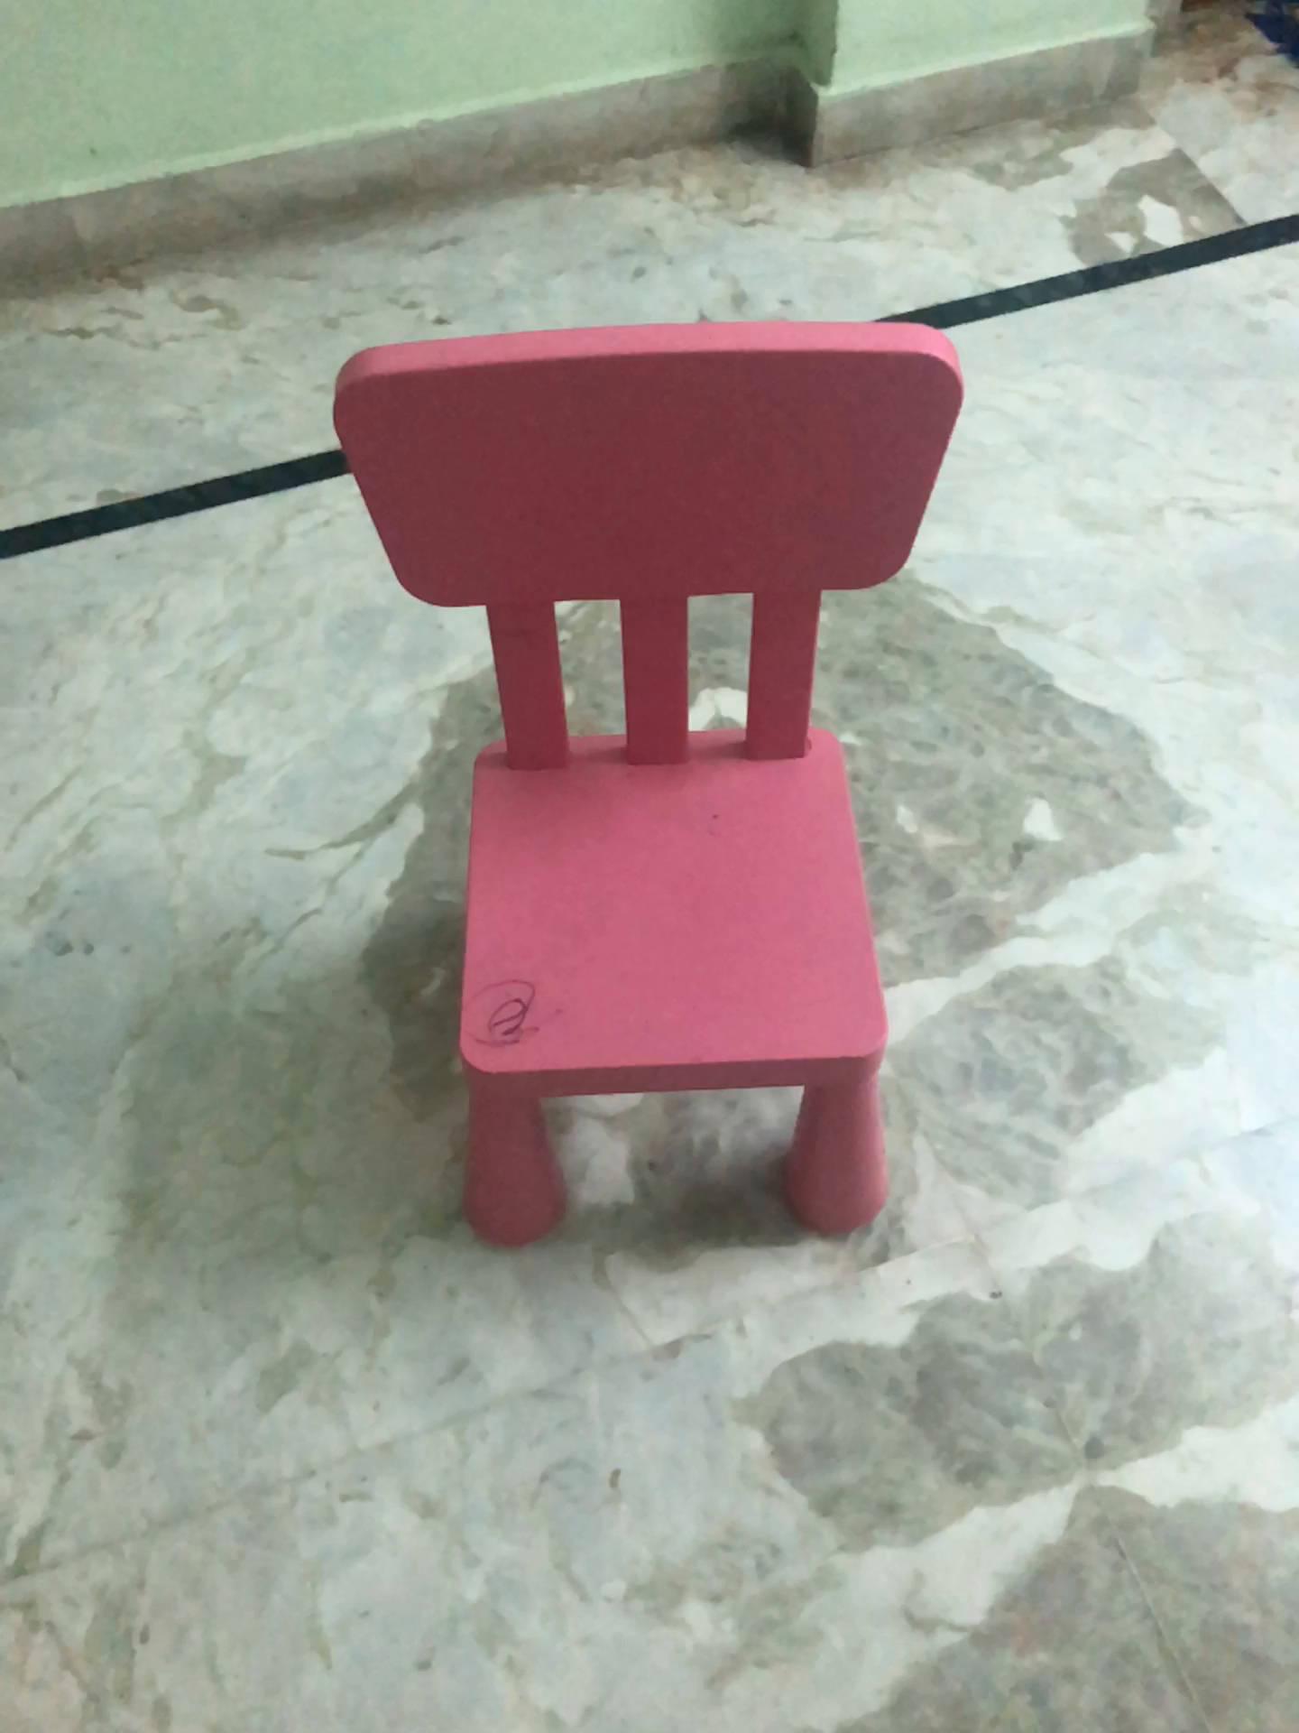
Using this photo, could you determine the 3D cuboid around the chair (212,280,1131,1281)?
[{"bbox_3d":[0.003,-0.002,0.986,0.400,0.627,0.382,-3,58,-1],"label":"chair"}]
